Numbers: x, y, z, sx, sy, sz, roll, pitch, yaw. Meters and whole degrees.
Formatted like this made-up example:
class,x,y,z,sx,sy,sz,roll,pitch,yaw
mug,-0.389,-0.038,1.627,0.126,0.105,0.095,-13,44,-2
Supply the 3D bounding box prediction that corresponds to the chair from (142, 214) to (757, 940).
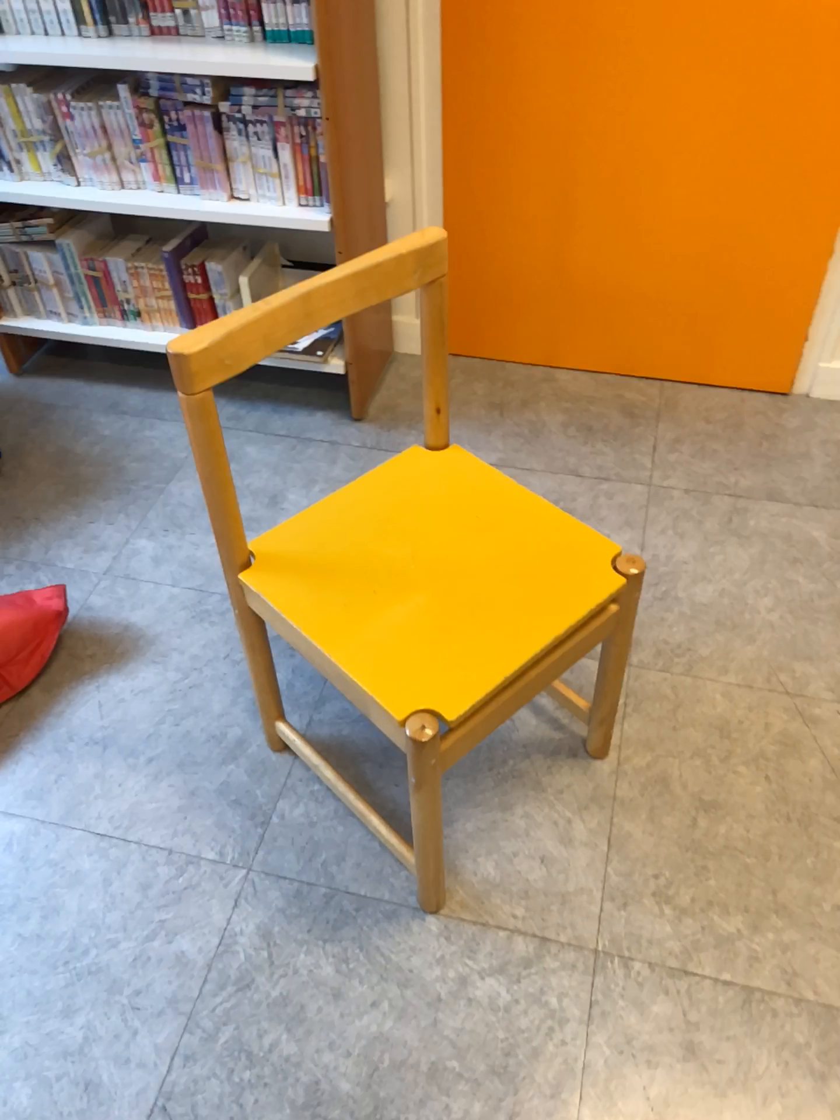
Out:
class,x,y,z,sx,sy,sz,roll,pitch,yaw
chair,0.037,0.025,1.151,0.452,0.667,0.420,-34,52,-29
